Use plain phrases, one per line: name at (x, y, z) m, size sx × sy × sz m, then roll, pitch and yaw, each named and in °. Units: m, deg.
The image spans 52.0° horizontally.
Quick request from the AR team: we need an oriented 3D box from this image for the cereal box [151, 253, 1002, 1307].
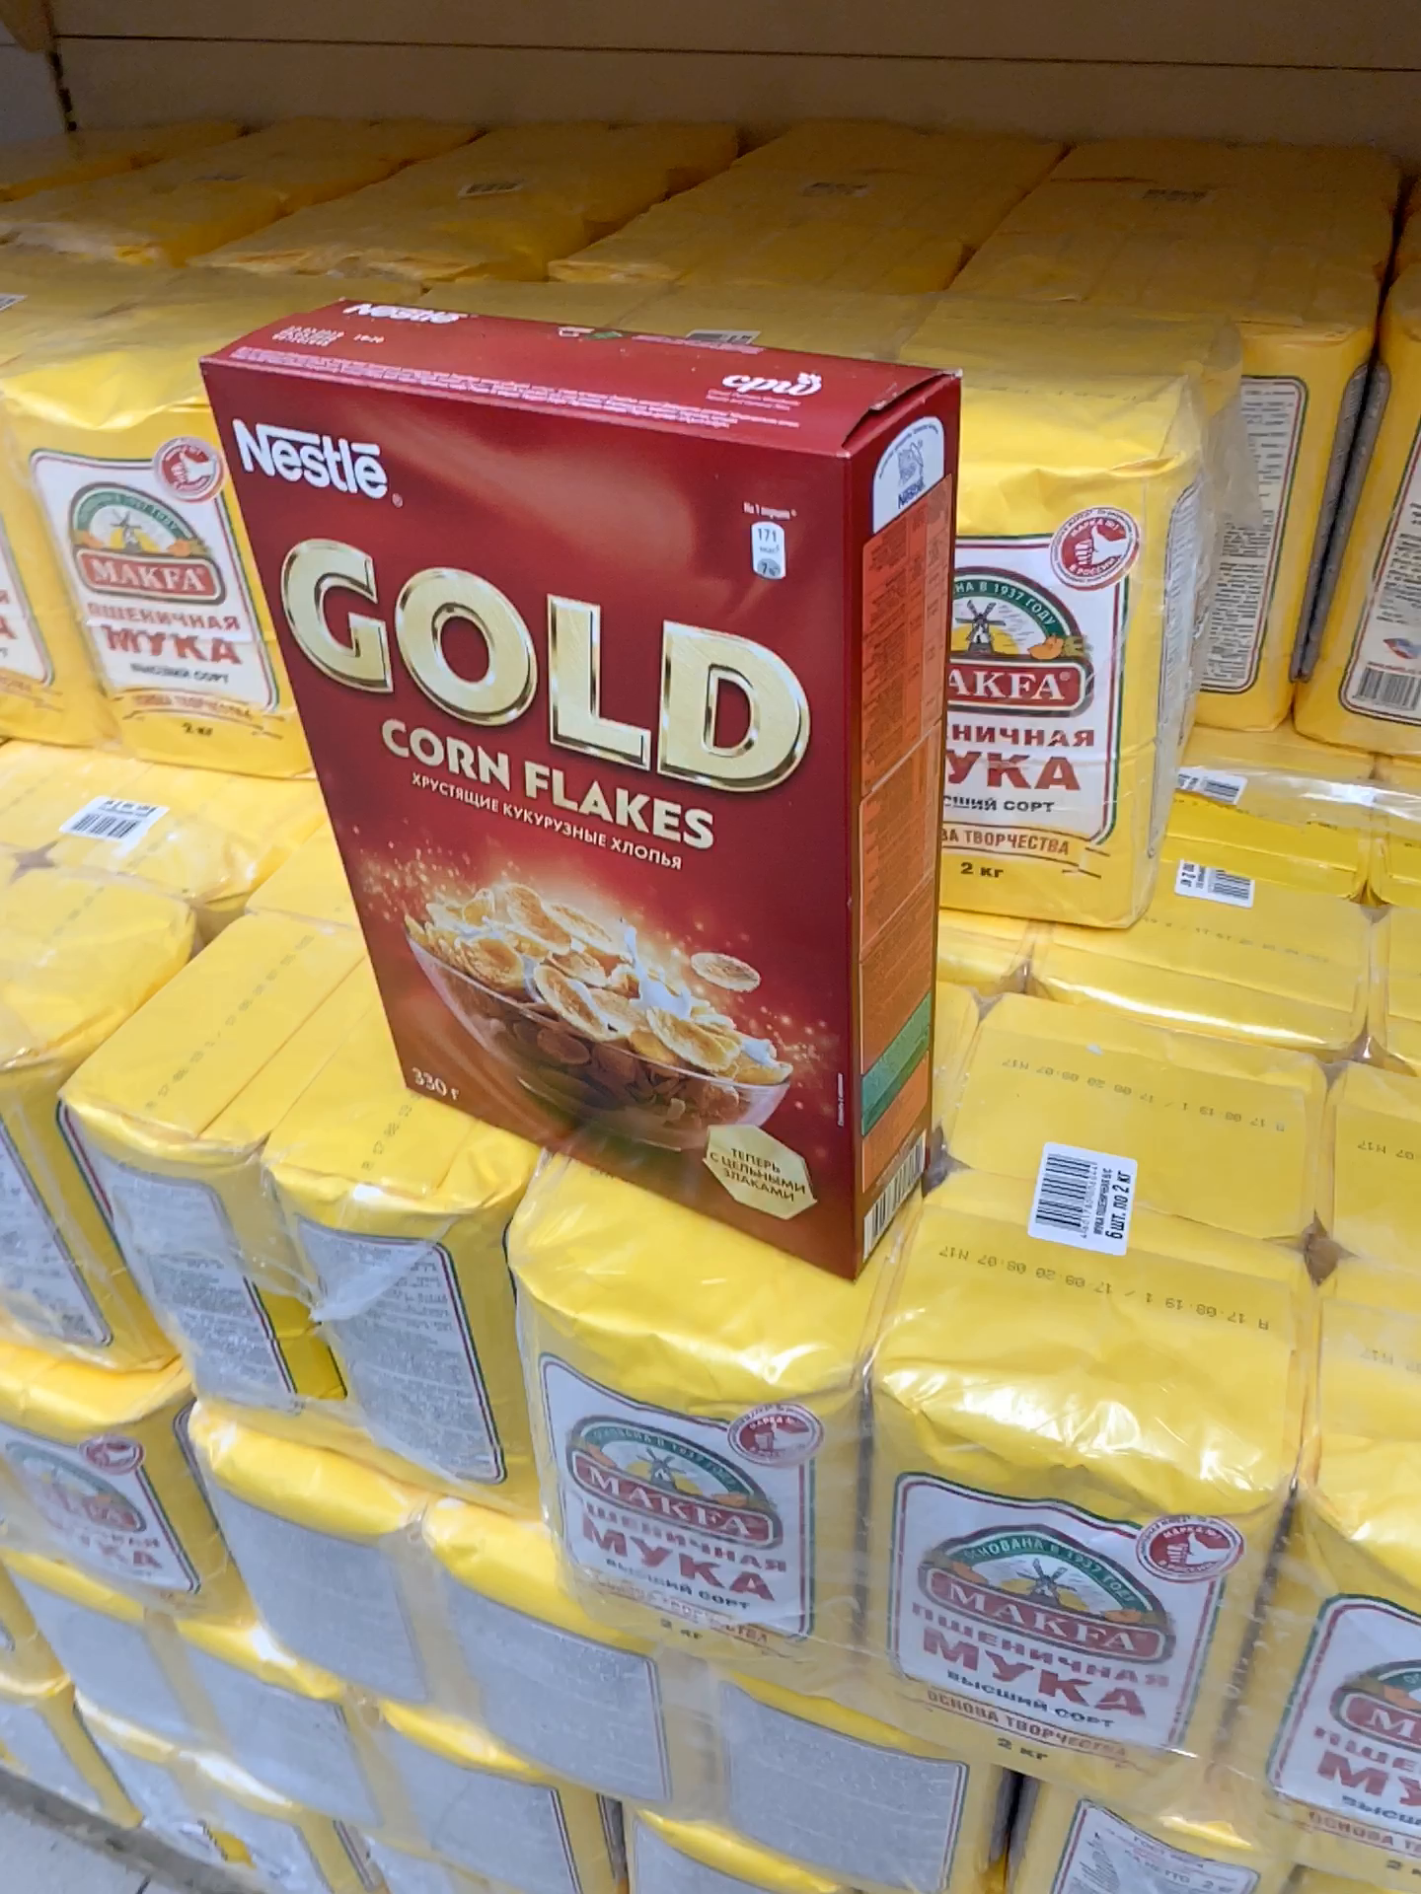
cereal box at (-0.032, -0.043, 0.454) m, size 0.211 × 0.287 × 0.070 m, roll 19°, pitch 45°, yaw 25°
